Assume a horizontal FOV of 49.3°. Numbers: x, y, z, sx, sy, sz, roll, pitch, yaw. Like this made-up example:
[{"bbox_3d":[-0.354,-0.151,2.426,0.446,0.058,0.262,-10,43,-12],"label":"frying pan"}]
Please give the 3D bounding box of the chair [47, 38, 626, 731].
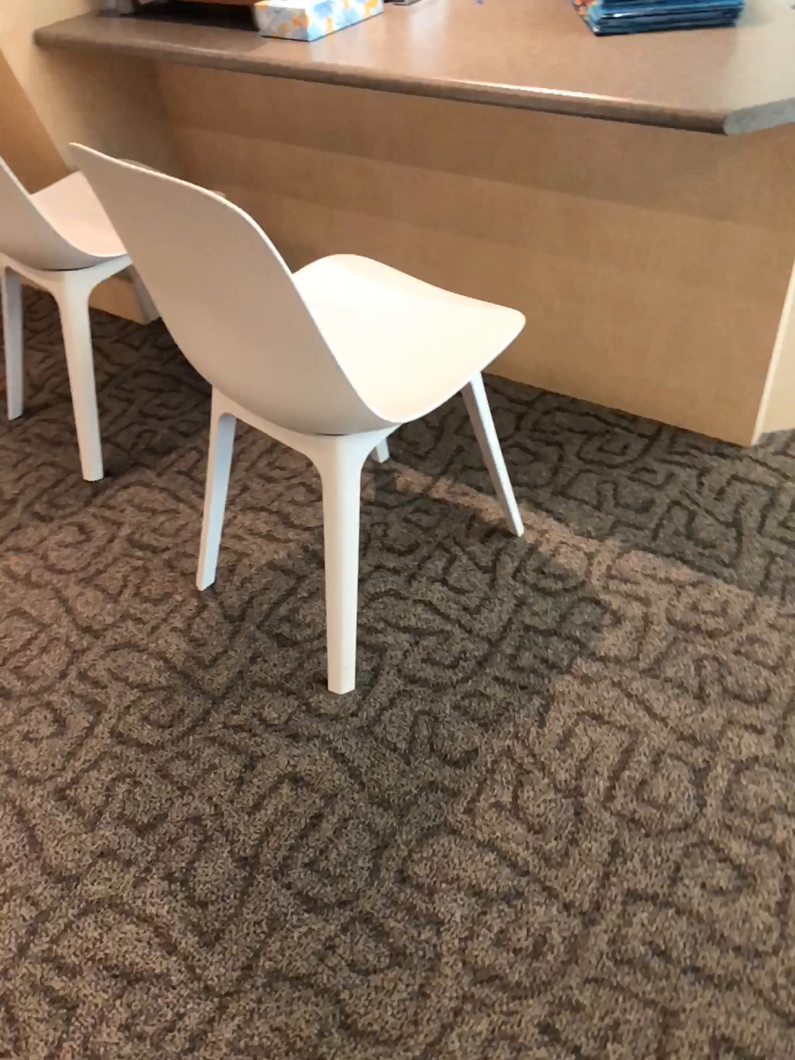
[{"bbox_3d":[-0.046,-0.230,1.352,0.482,0.794,0.552,31,53,33],"label":"chair"}]
